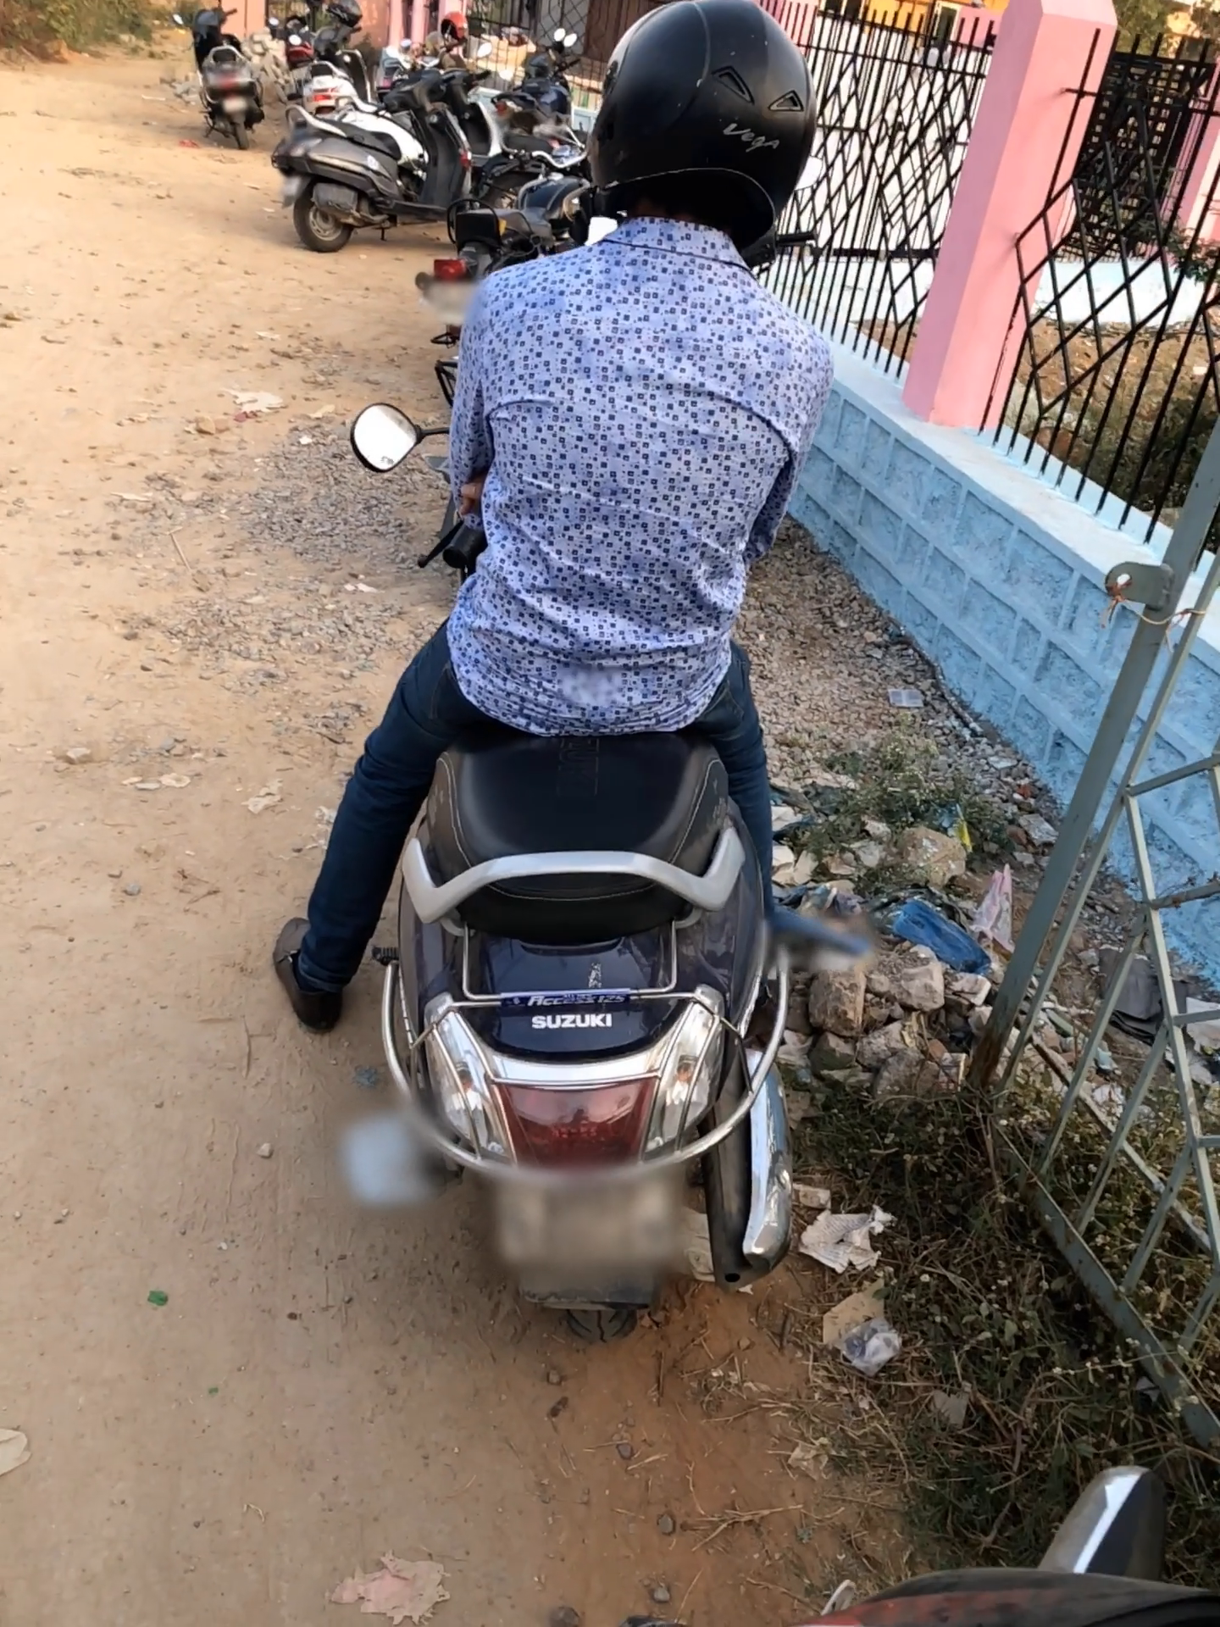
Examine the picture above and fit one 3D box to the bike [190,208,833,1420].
[{"bbox_3d":[-0.306,-0.118,2.030,0.593,1.013,1.401,2,36,-13],"label":"bike"}]
